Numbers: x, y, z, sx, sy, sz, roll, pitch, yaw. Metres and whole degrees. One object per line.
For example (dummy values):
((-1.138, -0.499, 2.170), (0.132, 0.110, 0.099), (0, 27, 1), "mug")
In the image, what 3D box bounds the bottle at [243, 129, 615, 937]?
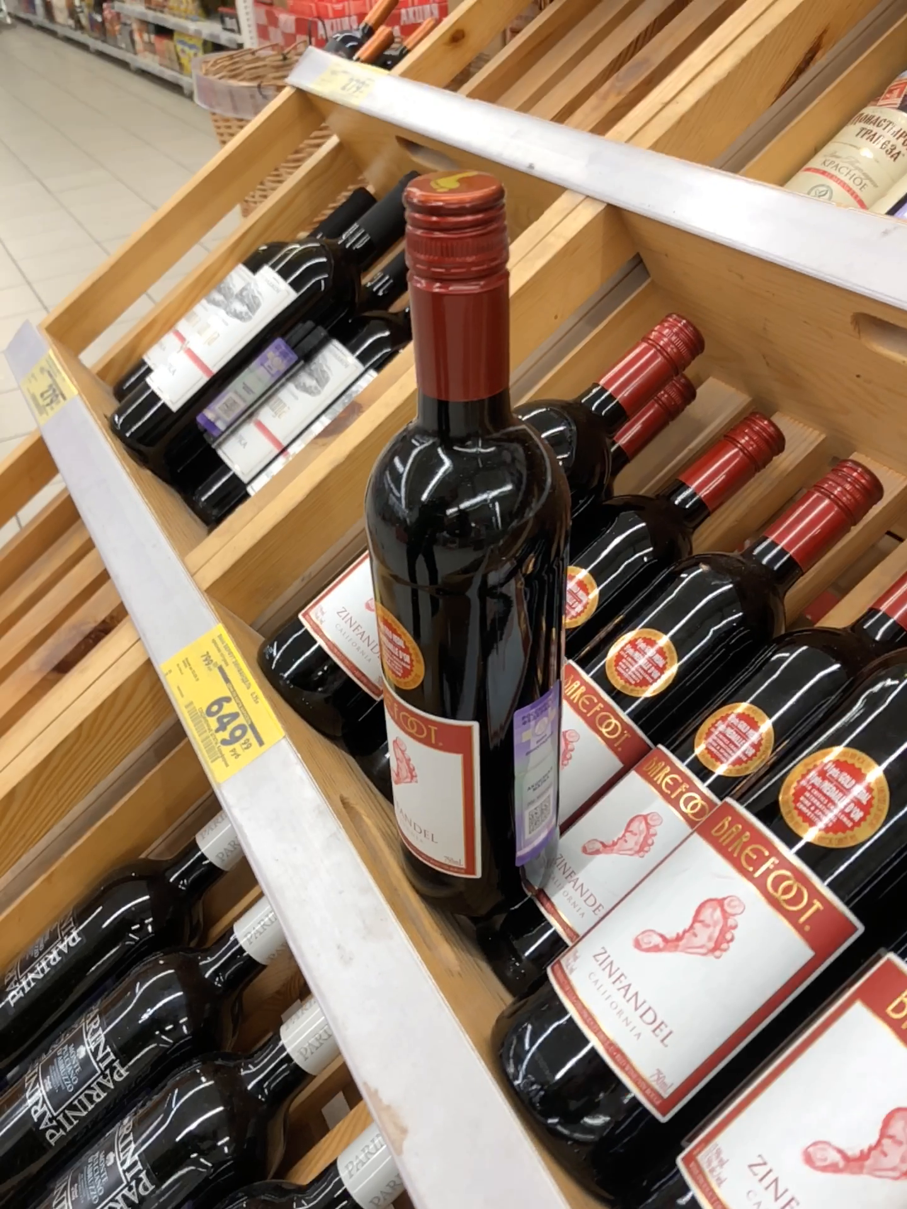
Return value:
((0.002, -0.010, 0.377), (0.080, 0.288, 0.080), (-4, 36, 3), "bottle")
